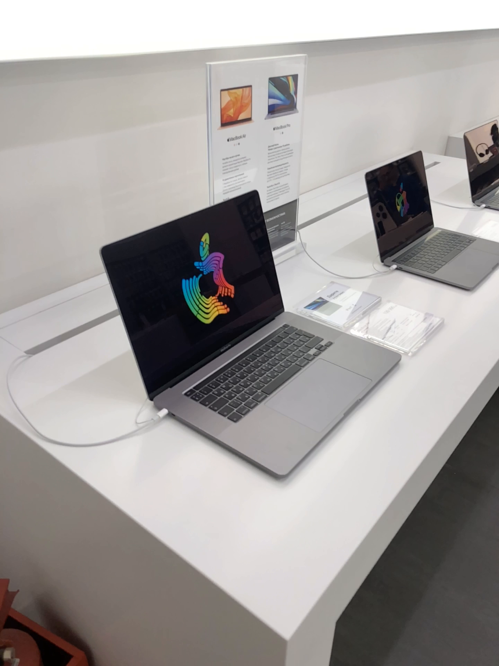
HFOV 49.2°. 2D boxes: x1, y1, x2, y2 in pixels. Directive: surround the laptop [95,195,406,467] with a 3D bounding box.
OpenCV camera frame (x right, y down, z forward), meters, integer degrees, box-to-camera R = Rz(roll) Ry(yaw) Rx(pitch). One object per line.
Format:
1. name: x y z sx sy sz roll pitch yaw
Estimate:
1. laptop: 0.010 -0.038 0.833 0.310 0.209 0.329 23 37 31
